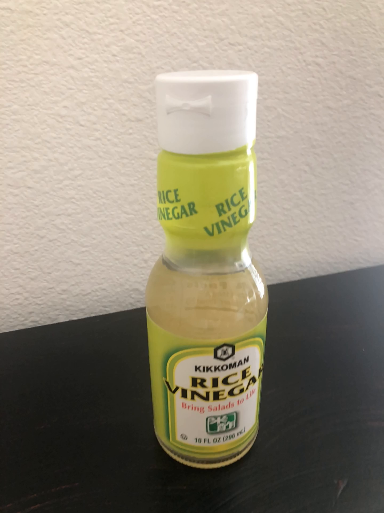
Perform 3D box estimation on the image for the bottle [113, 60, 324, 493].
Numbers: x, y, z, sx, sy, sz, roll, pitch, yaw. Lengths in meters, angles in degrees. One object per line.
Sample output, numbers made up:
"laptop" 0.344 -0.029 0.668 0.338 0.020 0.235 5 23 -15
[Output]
"bottle" 0.008 0.013 0.213 0.070 0.199 0.070 -1 25 1
